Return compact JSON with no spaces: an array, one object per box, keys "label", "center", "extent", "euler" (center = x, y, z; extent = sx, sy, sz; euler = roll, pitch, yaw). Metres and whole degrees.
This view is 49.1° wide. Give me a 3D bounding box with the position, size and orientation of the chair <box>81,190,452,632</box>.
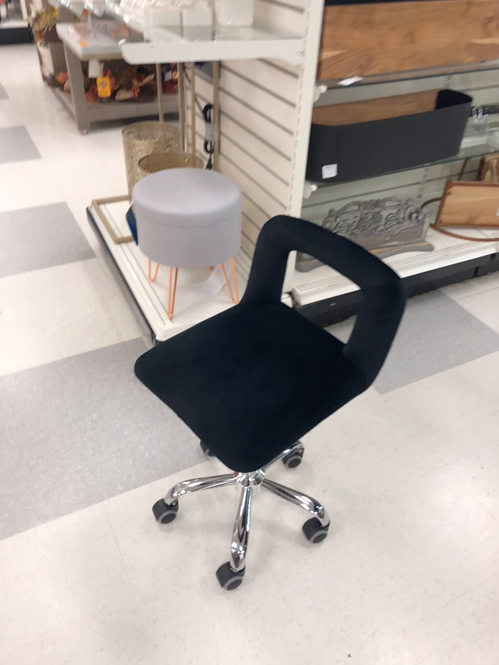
[{"label":"chair","center":[0.017,0.155,1.203],"extent":[0.486,0.694,0.462],"euler":[-27,47,-32]}]
